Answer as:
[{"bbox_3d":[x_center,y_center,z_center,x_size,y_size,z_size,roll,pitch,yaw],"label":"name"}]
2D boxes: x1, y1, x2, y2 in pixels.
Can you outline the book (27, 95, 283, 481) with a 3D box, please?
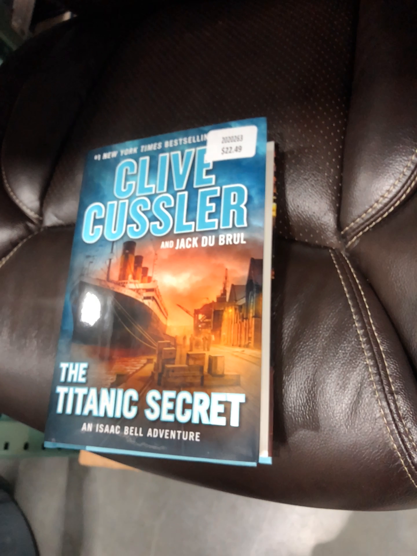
[{"bbox_3d":[-0.034,0.002,0.342,0.166,0.040,0.249,-4,72,23],"label":"book"}]
